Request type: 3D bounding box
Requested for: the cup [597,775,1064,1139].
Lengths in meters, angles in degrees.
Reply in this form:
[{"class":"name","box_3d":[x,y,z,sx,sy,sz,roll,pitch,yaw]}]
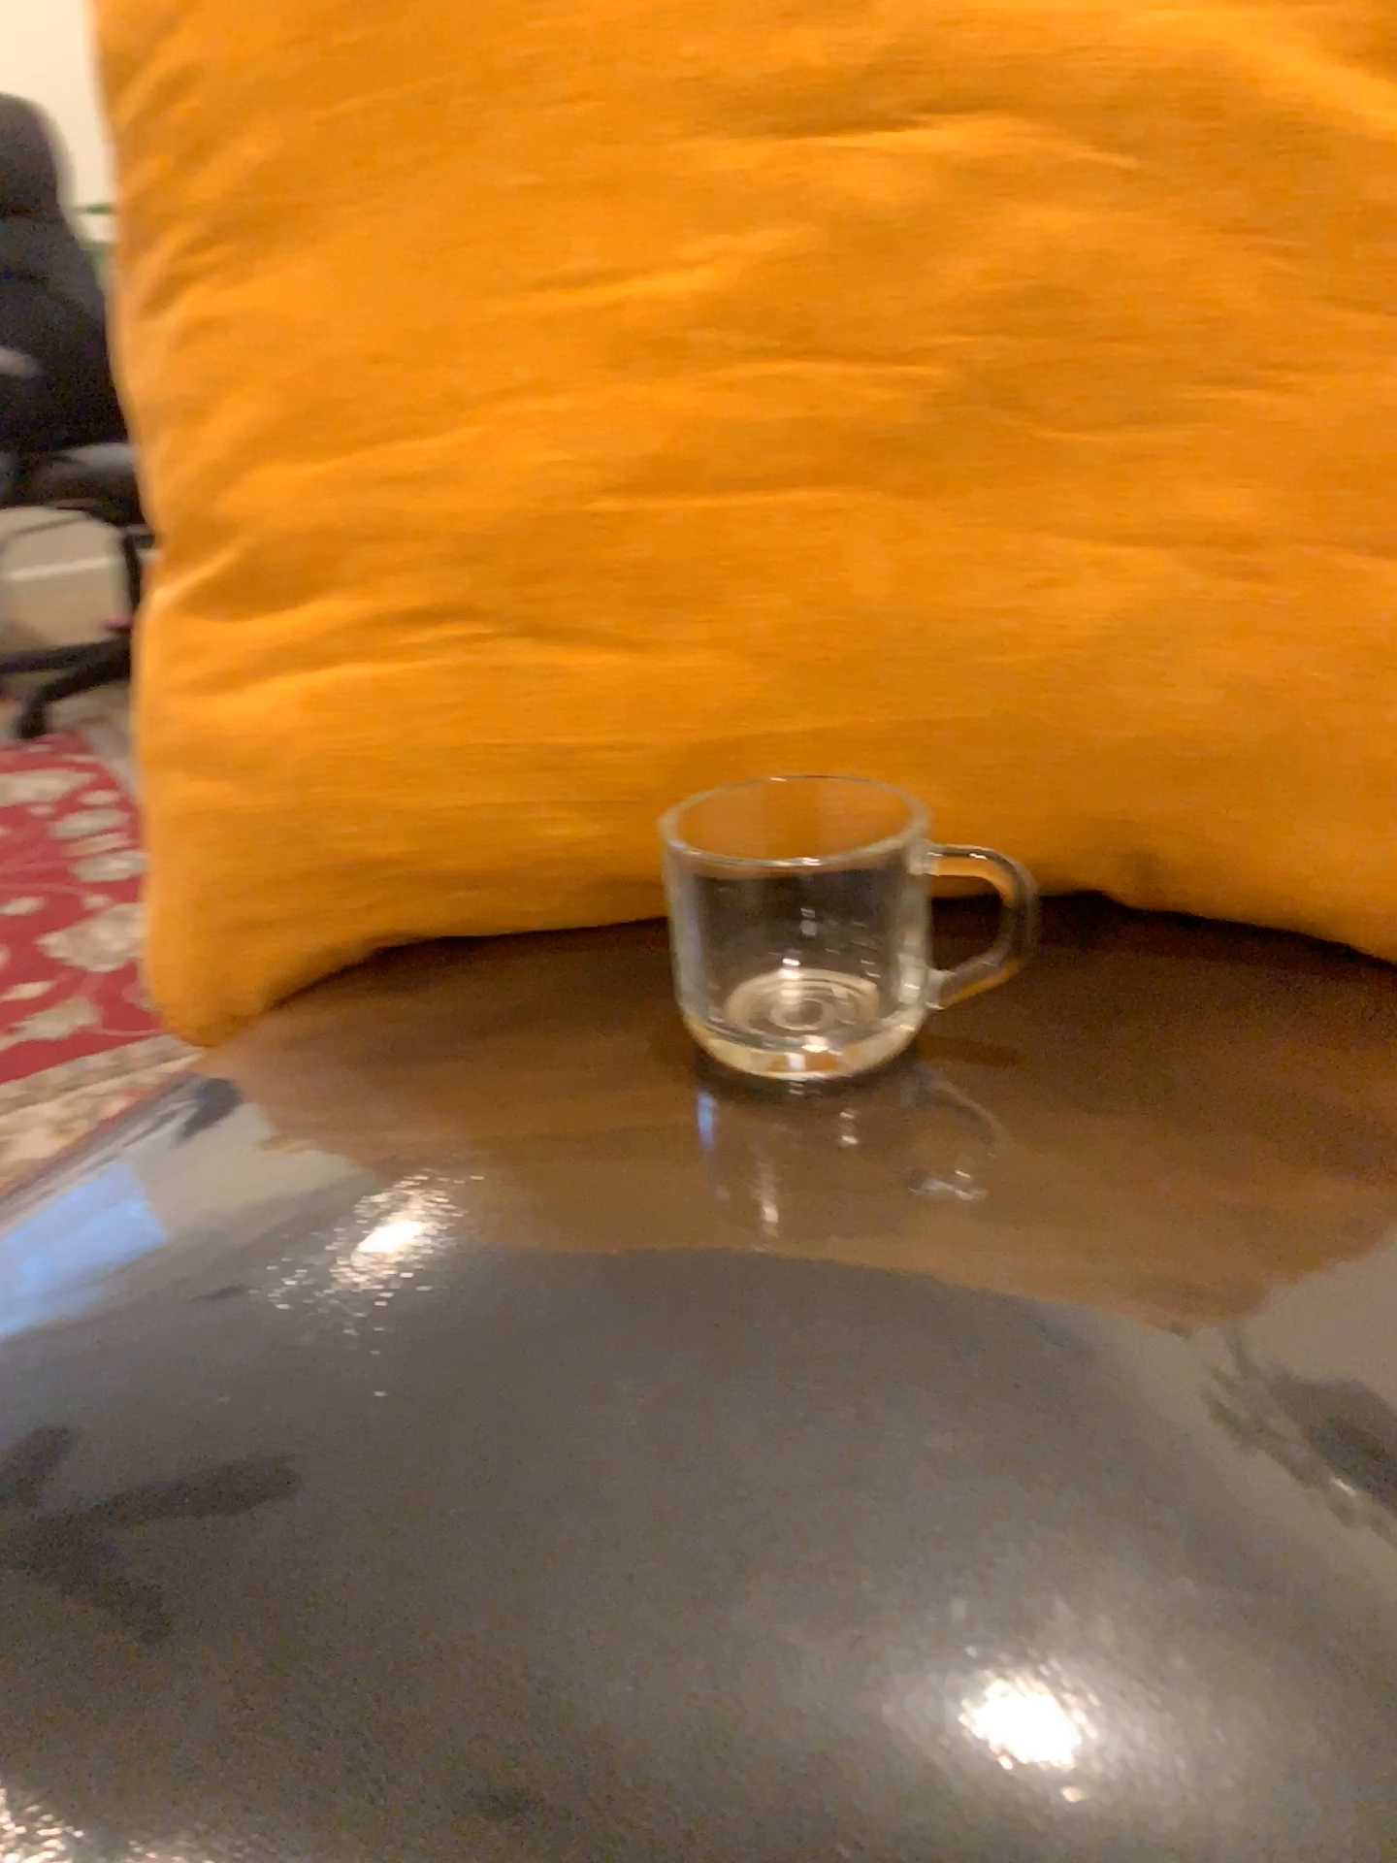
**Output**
[{"class":"cup","box_3d":[0.036,0.002,0.357,0.100,0.060,0.070,3,25,16]}]
